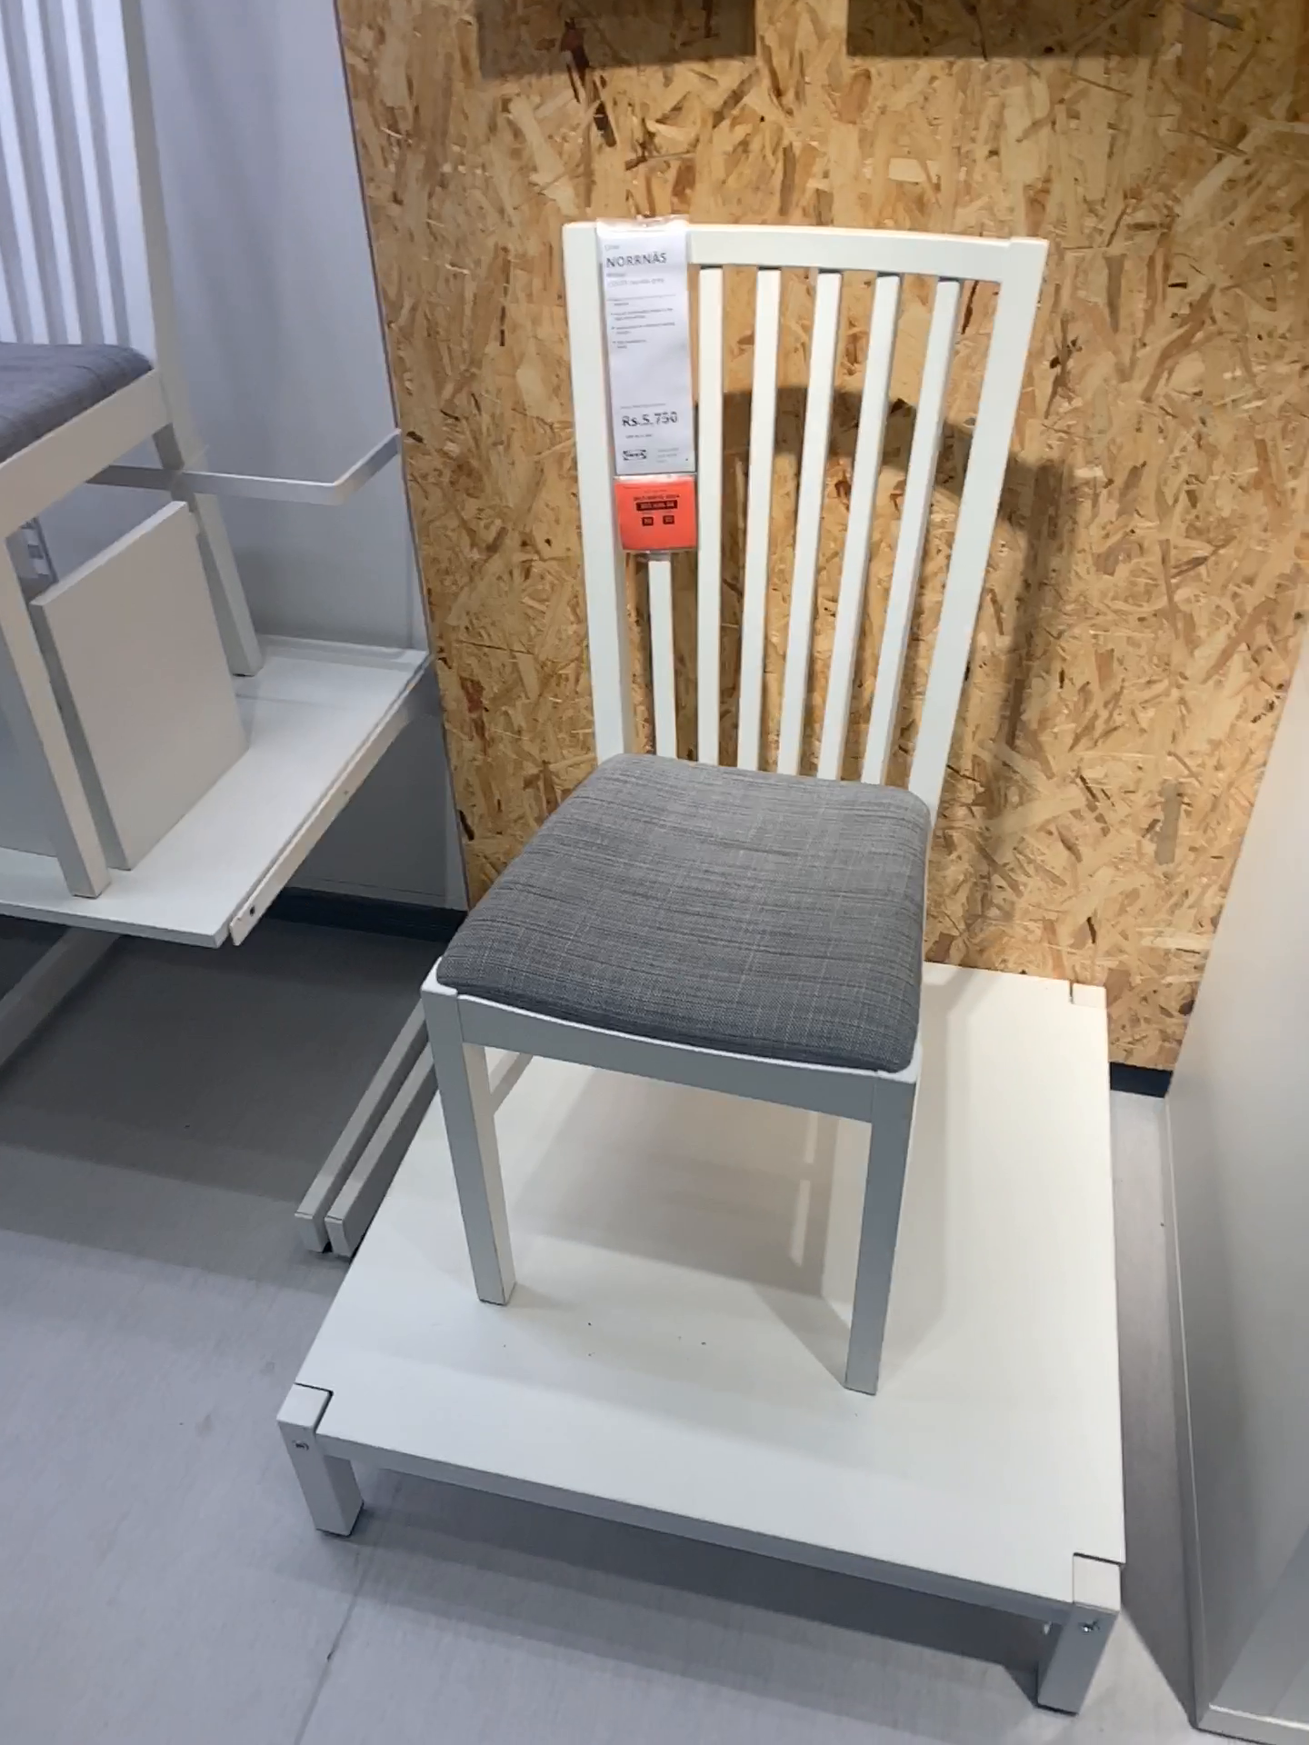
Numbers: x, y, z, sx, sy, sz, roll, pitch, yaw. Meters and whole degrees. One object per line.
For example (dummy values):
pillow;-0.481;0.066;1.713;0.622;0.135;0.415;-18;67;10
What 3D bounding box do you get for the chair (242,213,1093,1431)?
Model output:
chair;0.076;-0.048;1.236;0.470;0.896;0.592;9;39;14
